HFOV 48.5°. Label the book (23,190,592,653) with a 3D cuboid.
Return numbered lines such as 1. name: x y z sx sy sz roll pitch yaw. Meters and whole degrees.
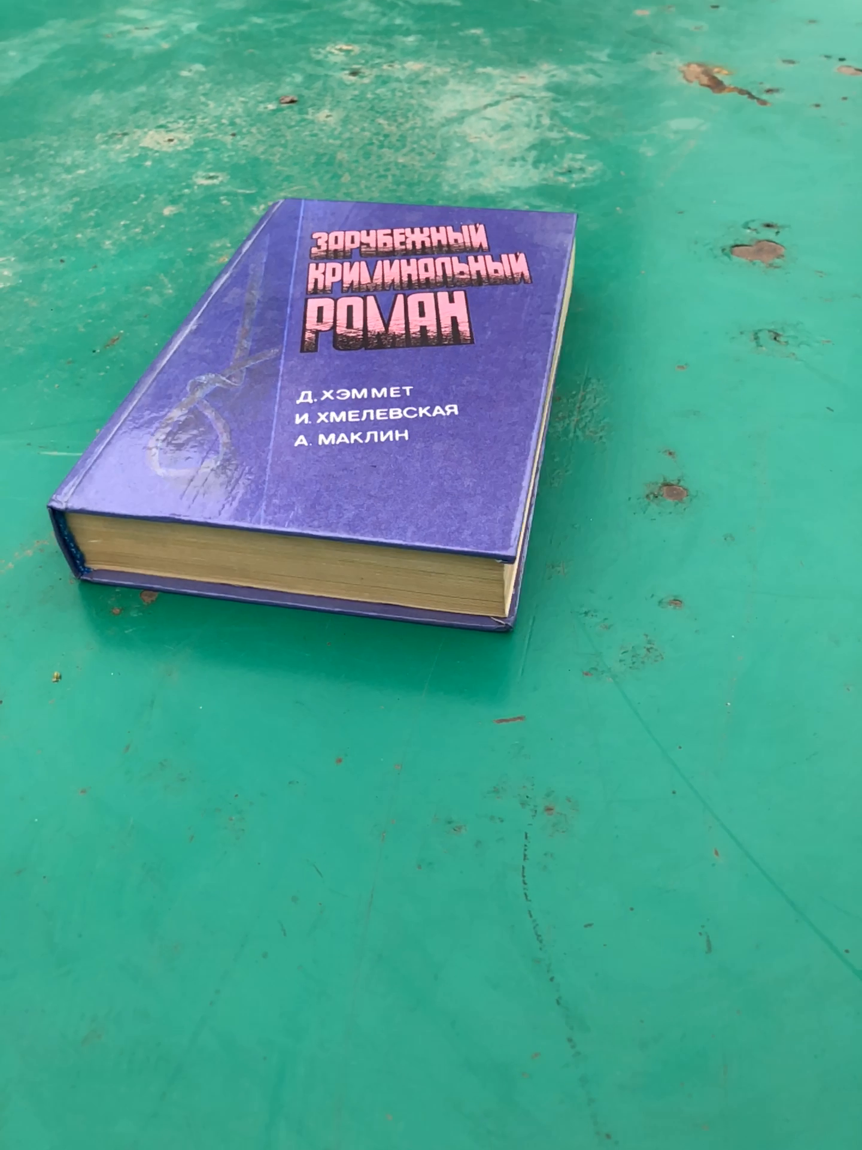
1. book: -0.022 -0.070 0.328 0.137 0.030 0.209 7 45 9
